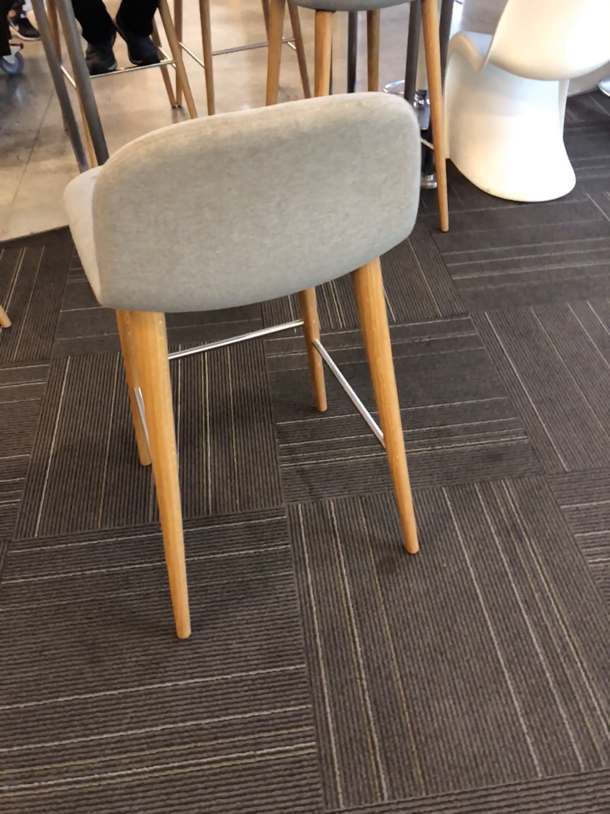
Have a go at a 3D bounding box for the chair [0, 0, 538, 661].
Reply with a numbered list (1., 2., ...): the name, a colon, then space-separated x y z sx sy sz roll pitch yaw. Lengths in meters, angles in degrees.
1. chair: -0.114 -0.149 1.136 0.570 0.946 0.562 -17 45 -15
